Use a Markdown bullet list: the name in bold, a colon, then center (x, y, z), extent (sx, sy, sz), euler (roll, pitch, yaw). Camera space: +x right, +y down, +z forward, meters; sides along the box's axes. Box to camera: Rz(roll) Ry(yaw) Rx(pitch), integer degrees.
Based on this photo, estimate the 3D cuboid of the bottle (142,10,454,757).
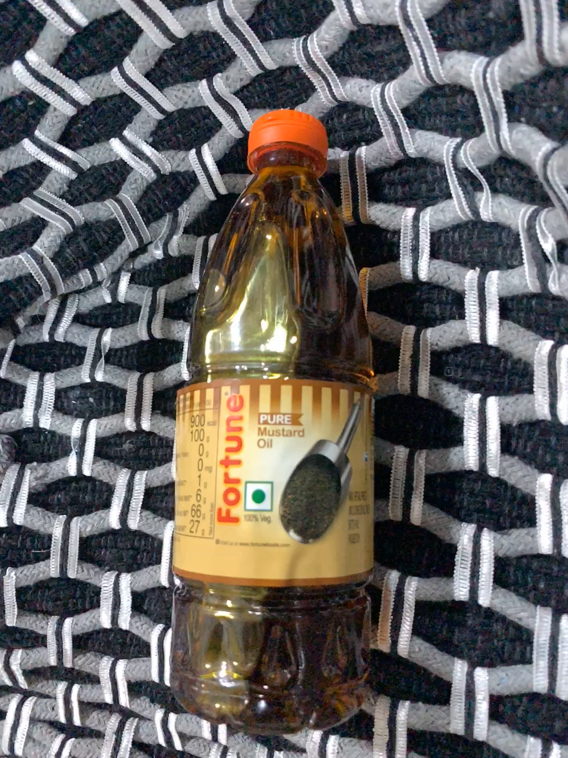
- **bottle**: center (0.003, -0.002, 0.218), extent (0.080, 0.080, 0.220), euler (150, 125, -68)
